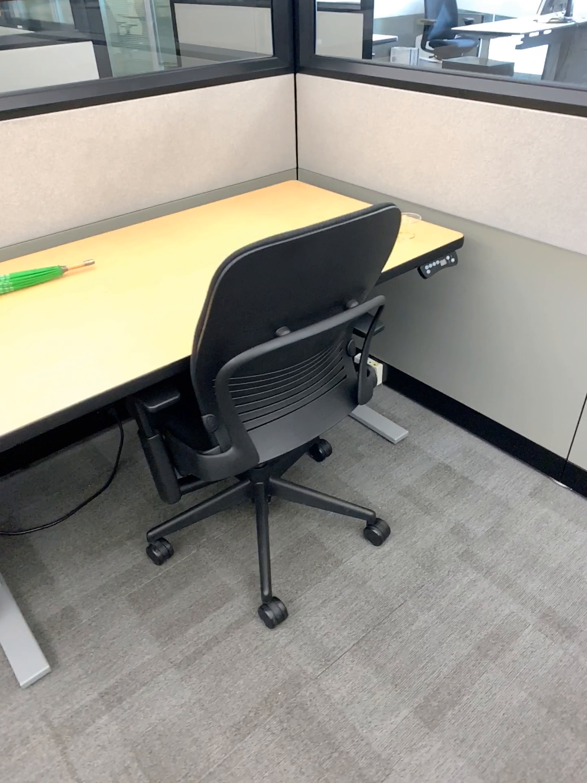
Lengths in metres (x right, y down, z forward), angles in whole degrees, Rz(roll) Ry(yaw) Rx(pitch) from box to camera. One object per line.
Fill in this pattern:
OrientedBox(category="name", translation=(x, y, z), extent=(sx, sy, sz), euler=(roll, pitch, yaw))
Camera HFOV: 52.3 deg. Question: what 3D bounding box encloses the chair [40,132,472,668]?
OrientedBox(category="chair", translation=(-0.048, 0.000, 1.453), extent=(0.671, 0.994, 0.512), euler=(-30, 44, -33))
